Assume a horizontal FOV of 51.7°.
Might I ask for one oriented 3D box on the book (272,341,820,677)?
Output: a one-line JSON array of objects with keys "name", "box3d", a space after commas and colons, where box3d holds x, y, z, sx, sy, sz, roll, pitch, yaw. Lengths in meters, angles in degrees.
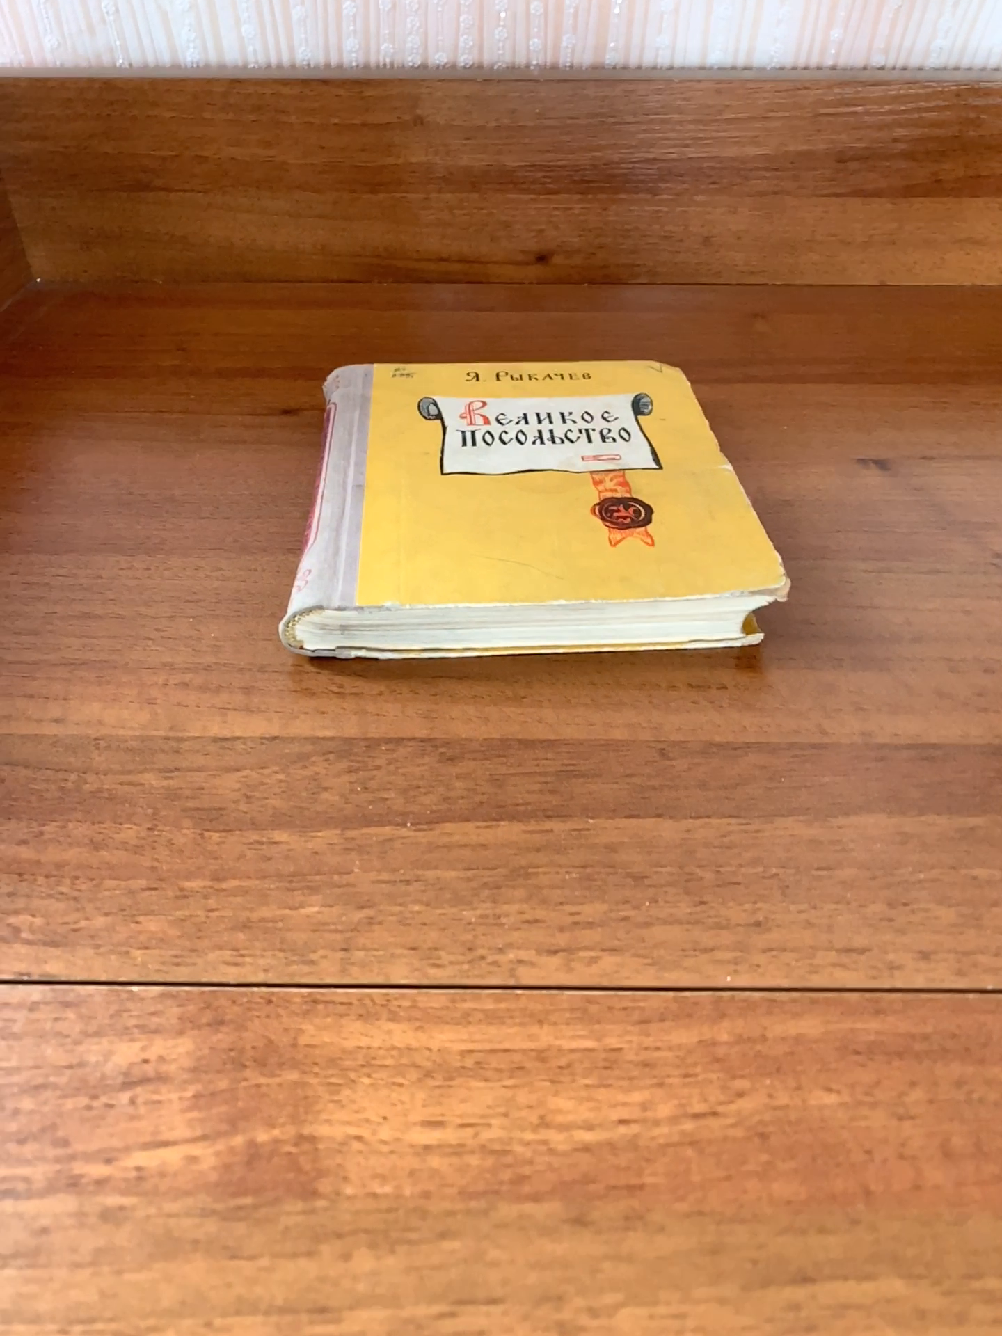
[{"name": "book", "box3d": [0.008, -0.062, 0.339, 0.142, 0.023, 0.172, -1, 40, -3]}]
